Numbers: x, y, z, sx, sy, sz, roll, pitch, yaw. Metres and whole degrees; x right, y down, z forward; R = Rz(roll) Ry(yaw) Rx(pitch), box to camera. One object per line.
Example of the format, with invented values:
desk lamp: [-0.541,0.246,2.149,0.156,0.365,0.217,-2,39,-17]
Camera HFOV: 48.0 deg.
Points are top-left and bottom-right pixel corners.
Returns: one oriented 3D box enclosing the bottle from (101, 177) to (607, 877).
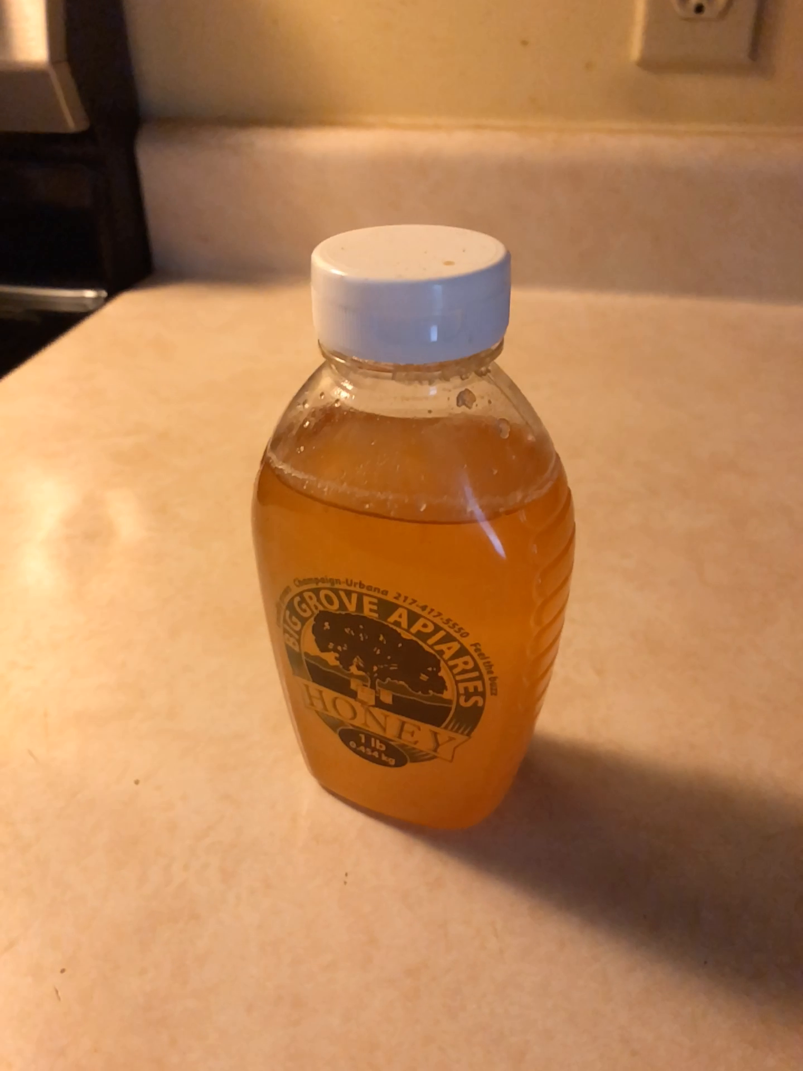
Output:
bottle: [-0.006,-0.002,0.212,0.080,0.140,0.060,12,34,20]
